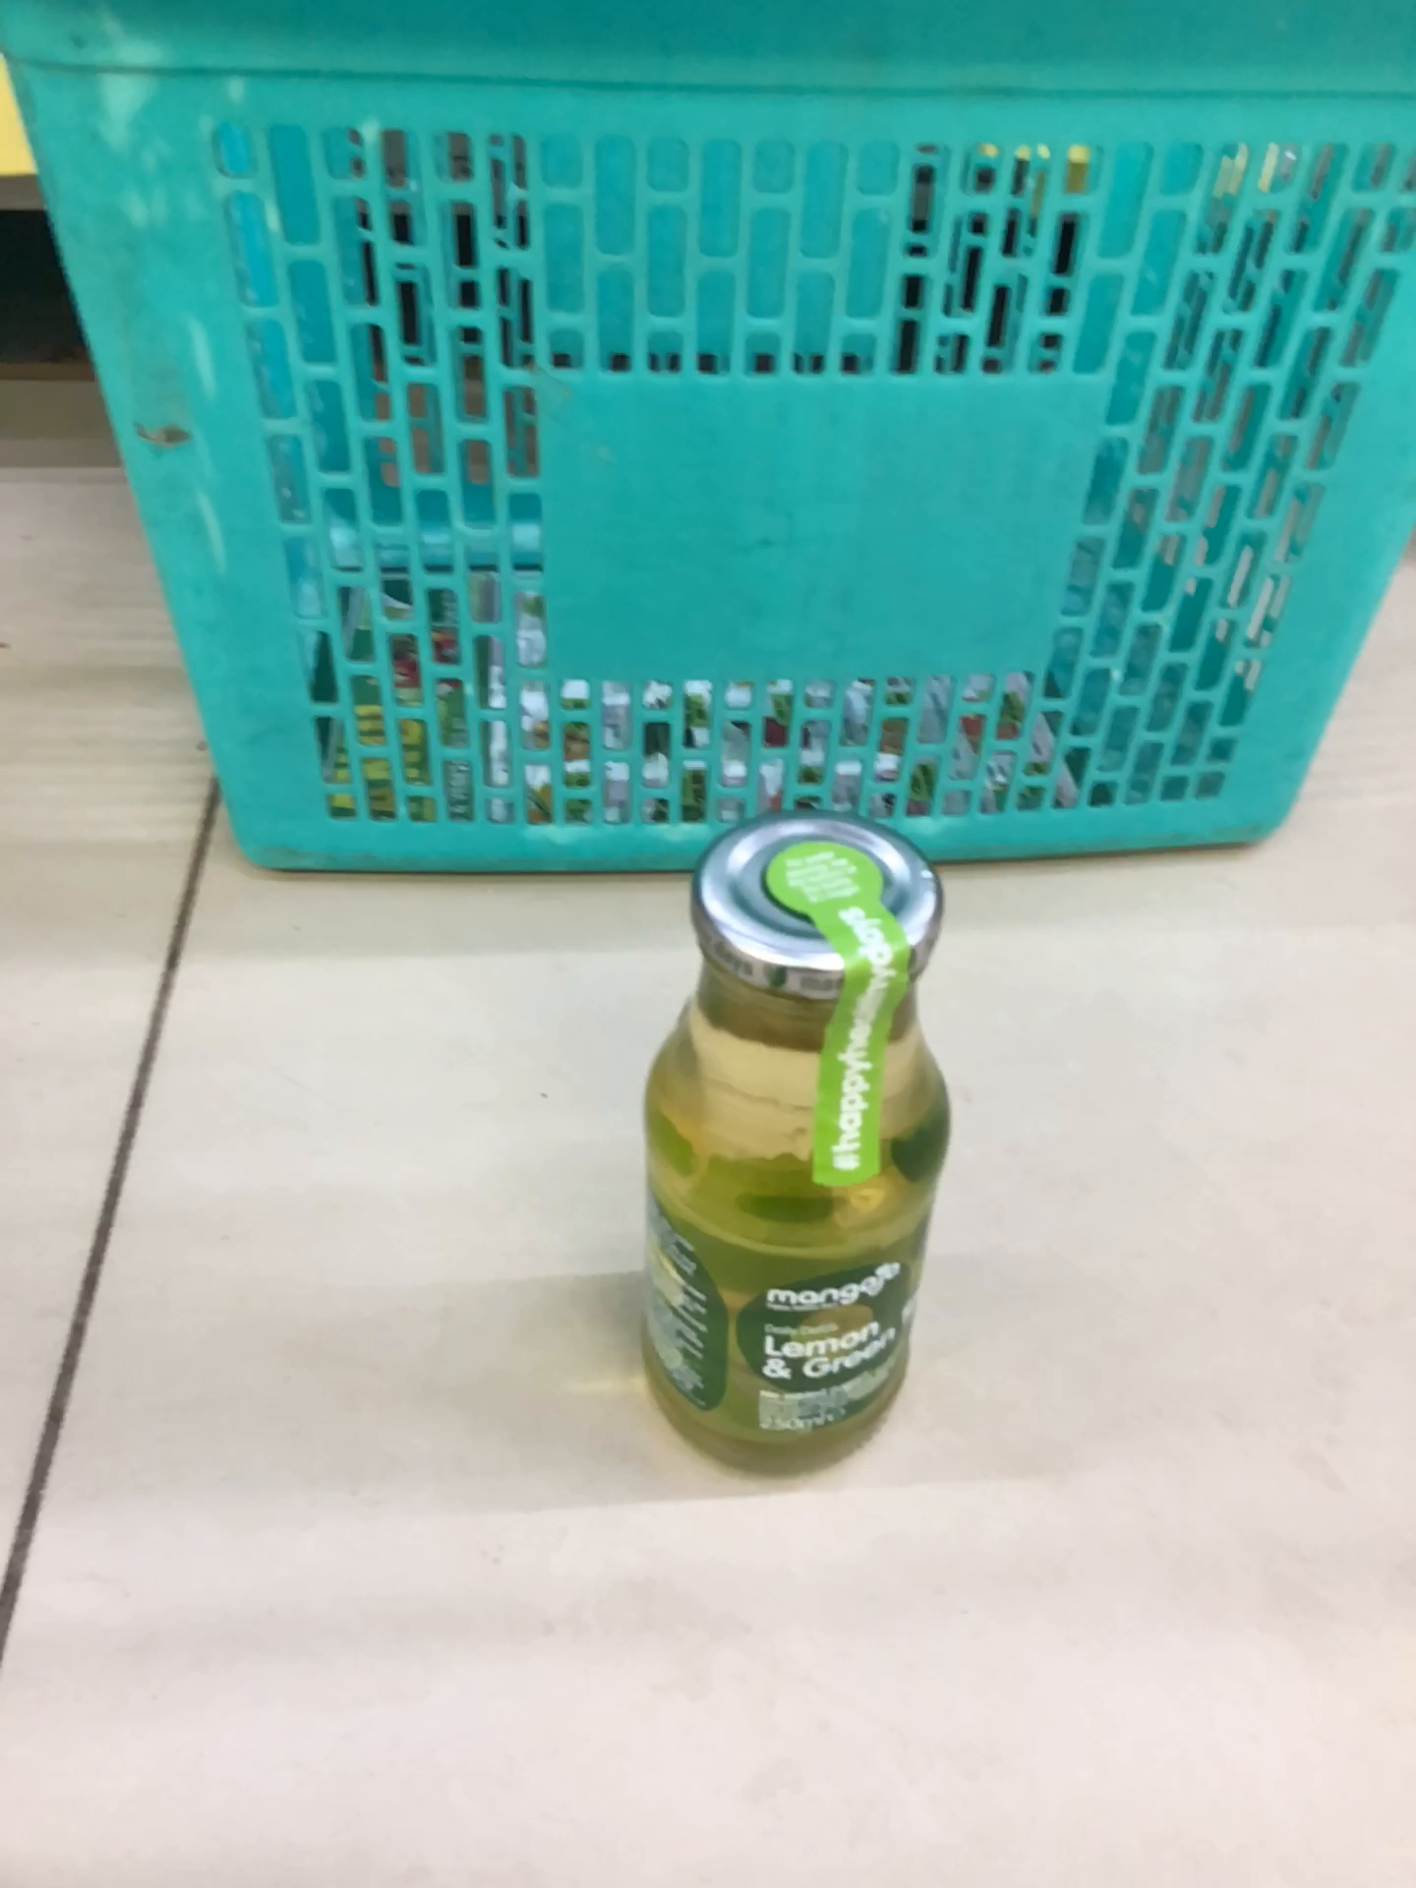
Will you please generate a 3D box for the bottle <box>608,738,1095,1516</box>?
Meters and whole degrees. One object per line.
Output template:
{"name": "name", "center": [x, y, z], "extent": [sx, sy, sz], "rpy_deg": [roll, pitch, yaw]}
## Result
{"name": "bottle", "center": [0.021, 0.042, 0.328], "extent": [0.070, 0.149, 0.070], "rpy_deg": [1, 41, -1]}
